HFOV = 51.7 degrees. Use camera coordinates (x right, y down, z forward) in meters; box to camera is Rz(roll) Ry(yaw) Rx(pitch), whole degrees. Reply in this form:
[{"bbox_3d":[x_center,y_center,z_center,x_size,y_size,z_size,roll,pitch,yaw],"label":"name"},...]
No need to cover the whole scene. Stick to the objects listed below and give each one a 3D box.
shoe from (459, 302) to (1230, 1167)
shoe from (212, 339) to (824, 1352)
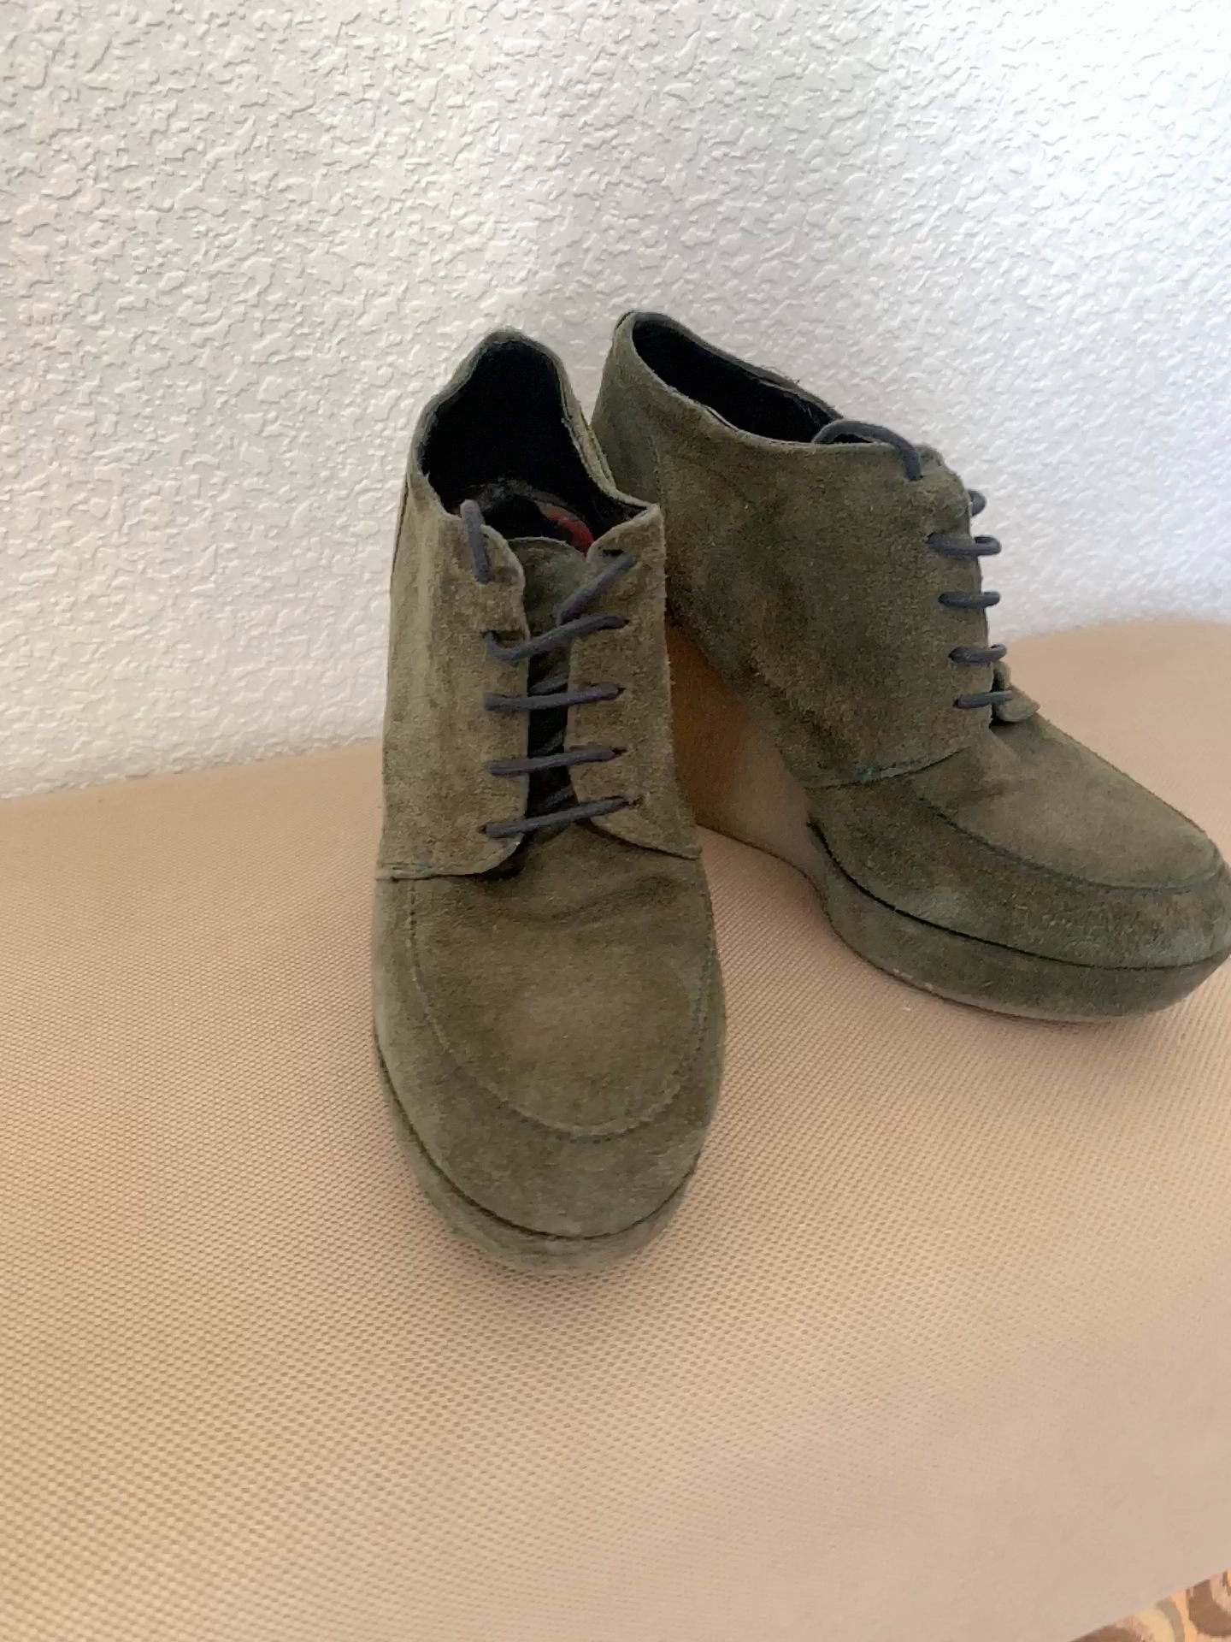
[{"bbox_3d":[0.065,-0.048,0.378,0.080,0.139,0.271,-24,42,-32],"label":"shoe"},{"bbox_3d":[-0.024,-0.017,0.312,0.086,0.136,0.230,-2,35,-5],"label":"shoe"}]
